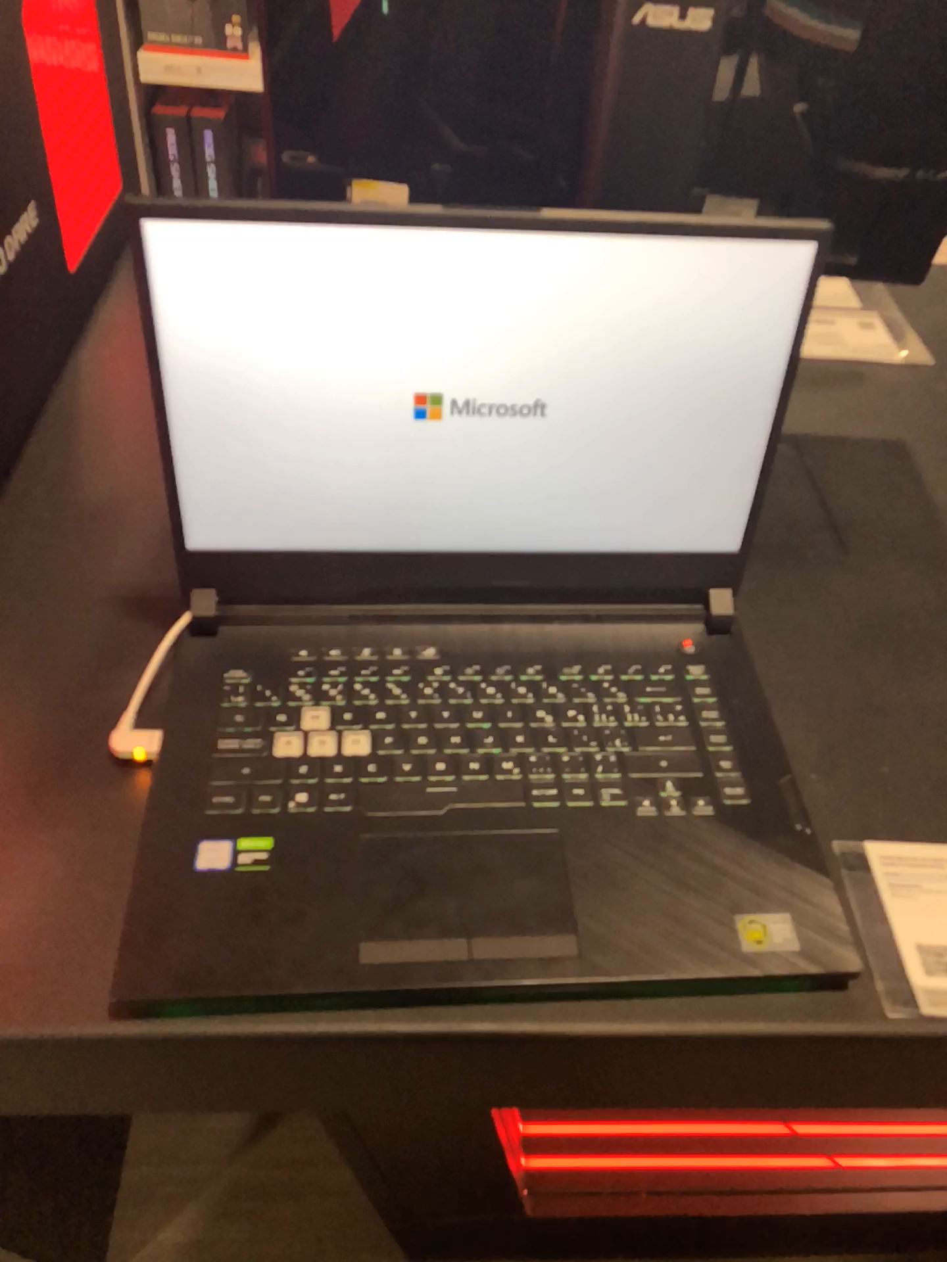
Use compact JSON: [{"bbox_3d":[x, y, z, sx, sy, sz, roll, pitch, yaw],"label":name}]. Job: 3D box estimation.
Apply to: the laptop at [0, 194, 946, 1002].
[{"bbox_3d":[0.013,-0.018,0.511,0.360,0.268,0.276,0,44,-6],"label":"laptop"}]
